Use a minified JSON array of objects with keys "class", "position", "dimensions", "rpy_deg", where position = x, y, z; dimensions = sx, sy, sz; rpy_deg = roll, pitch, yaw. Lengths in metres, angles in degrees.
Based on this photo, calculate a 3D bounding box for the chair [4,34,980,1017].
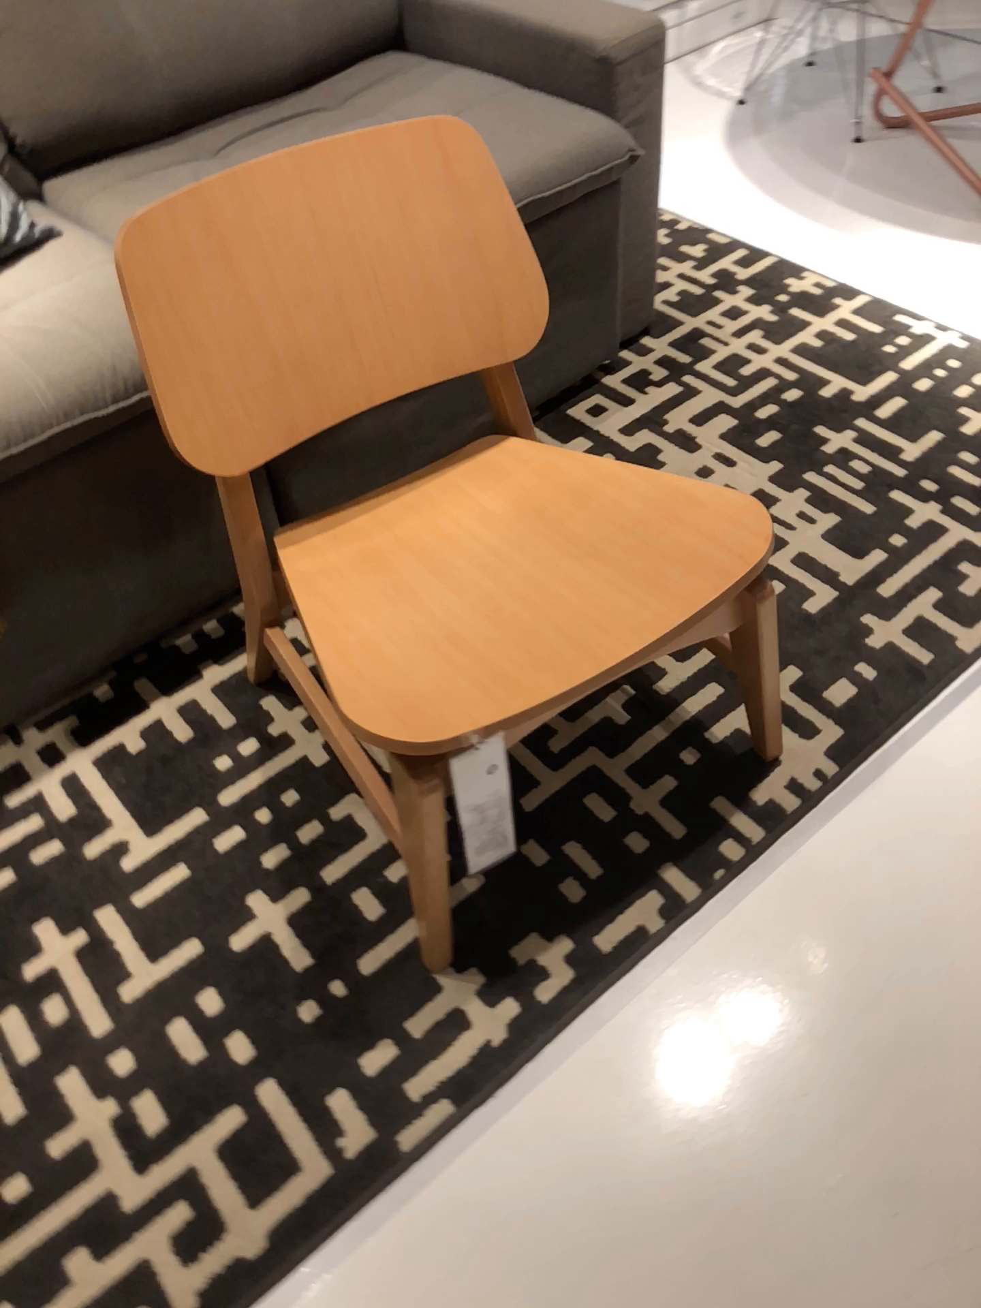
[{"class":"chair","position":[0.000,-0.175,1.179],"dimensions":[0.641,0.625,0.654],"rpy_deg":[-29,51,-20]}]
